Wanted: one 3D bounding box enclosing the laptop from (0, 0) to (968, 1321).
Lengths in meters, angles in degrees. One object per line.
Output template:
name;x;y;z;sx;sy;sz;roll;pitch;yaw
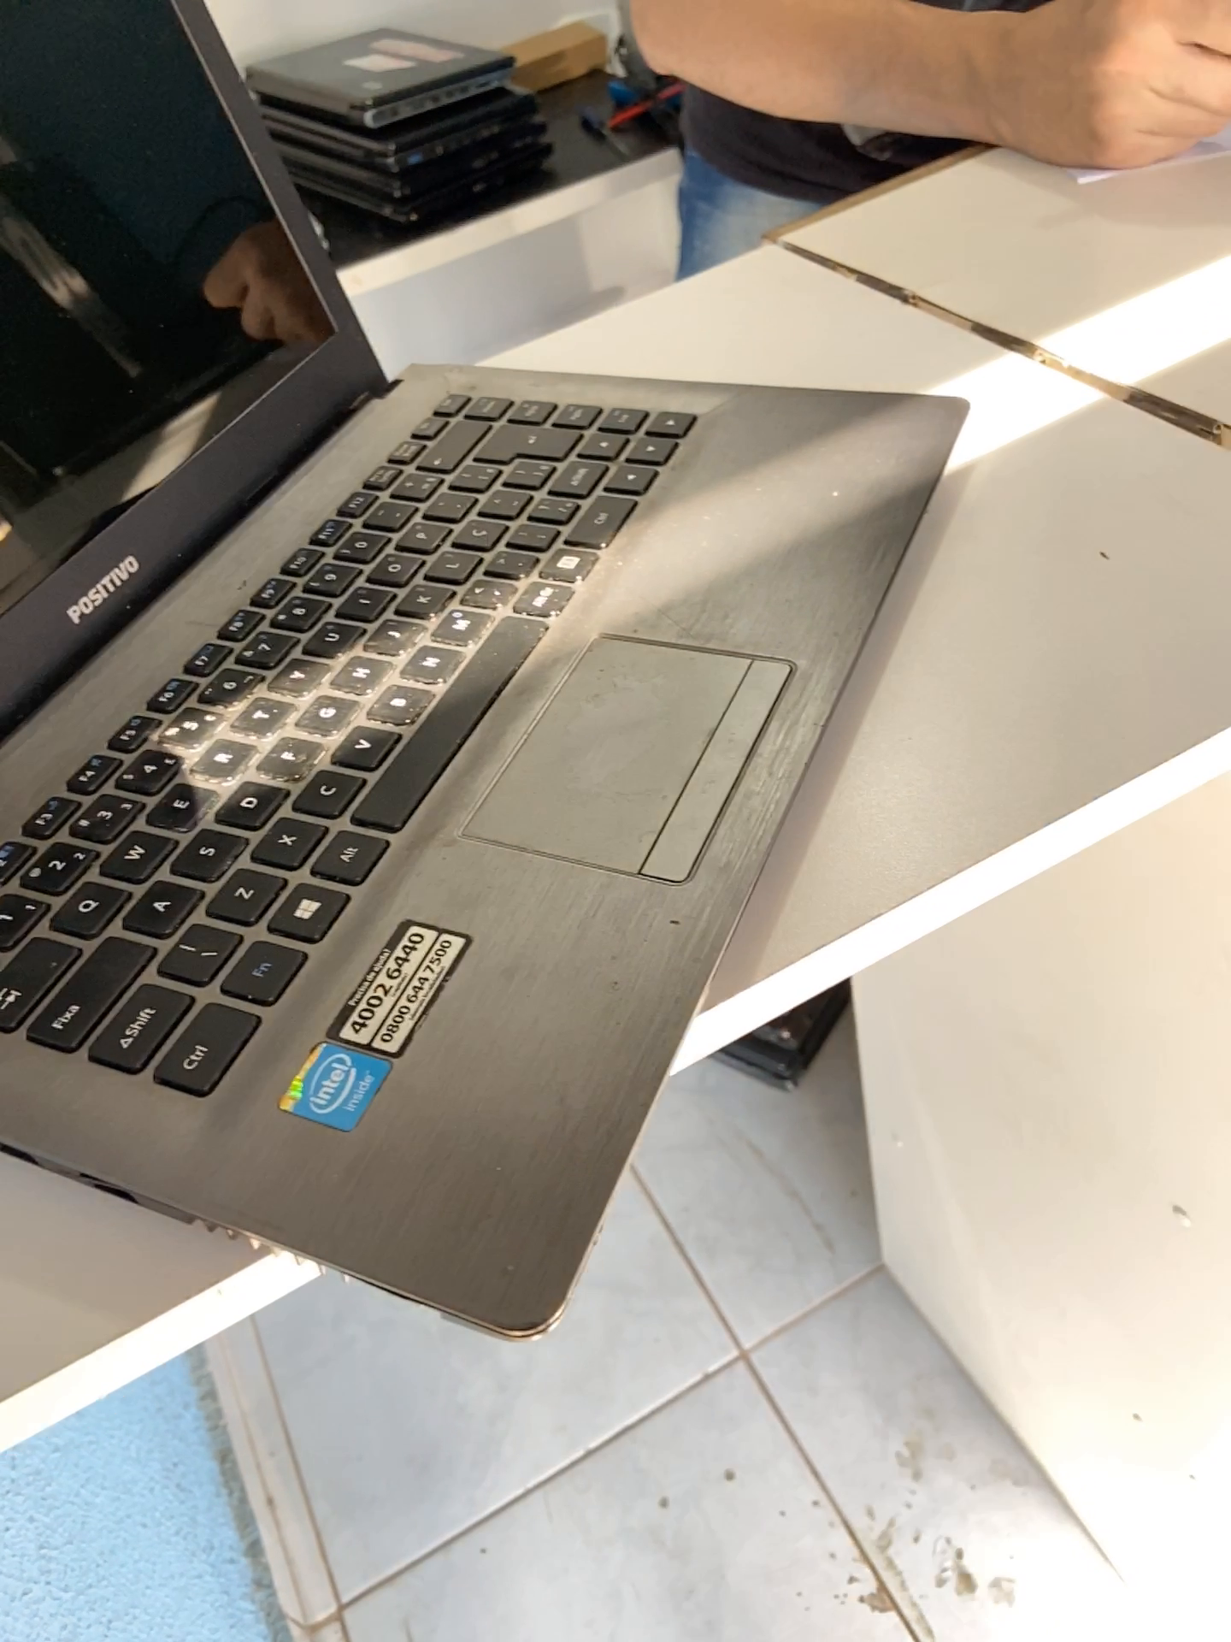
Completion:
laptop;-0.099;-0.128;0.308;0.283;0.211;0.336;10;48;24
